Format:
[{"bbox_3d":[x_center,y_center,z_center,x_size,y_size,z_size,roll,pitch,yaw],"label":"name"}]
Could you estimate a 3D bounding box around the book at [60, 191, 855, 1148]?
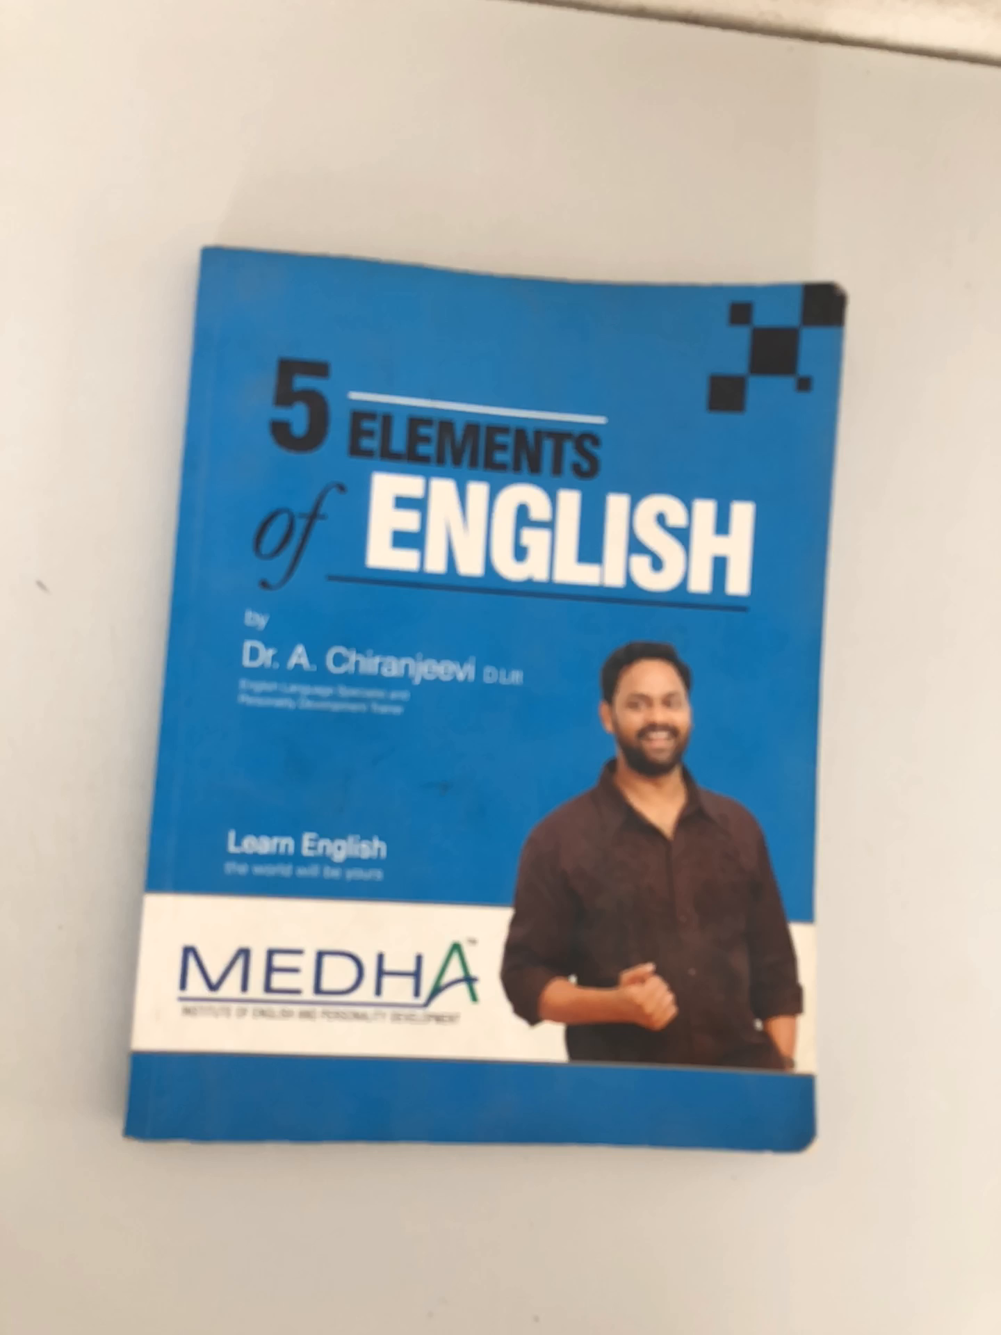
[{"bbox_3d":[-0.004,0.001,0.269,0.180,0.020,0.220,3,84,-6],"label":"book"}]
